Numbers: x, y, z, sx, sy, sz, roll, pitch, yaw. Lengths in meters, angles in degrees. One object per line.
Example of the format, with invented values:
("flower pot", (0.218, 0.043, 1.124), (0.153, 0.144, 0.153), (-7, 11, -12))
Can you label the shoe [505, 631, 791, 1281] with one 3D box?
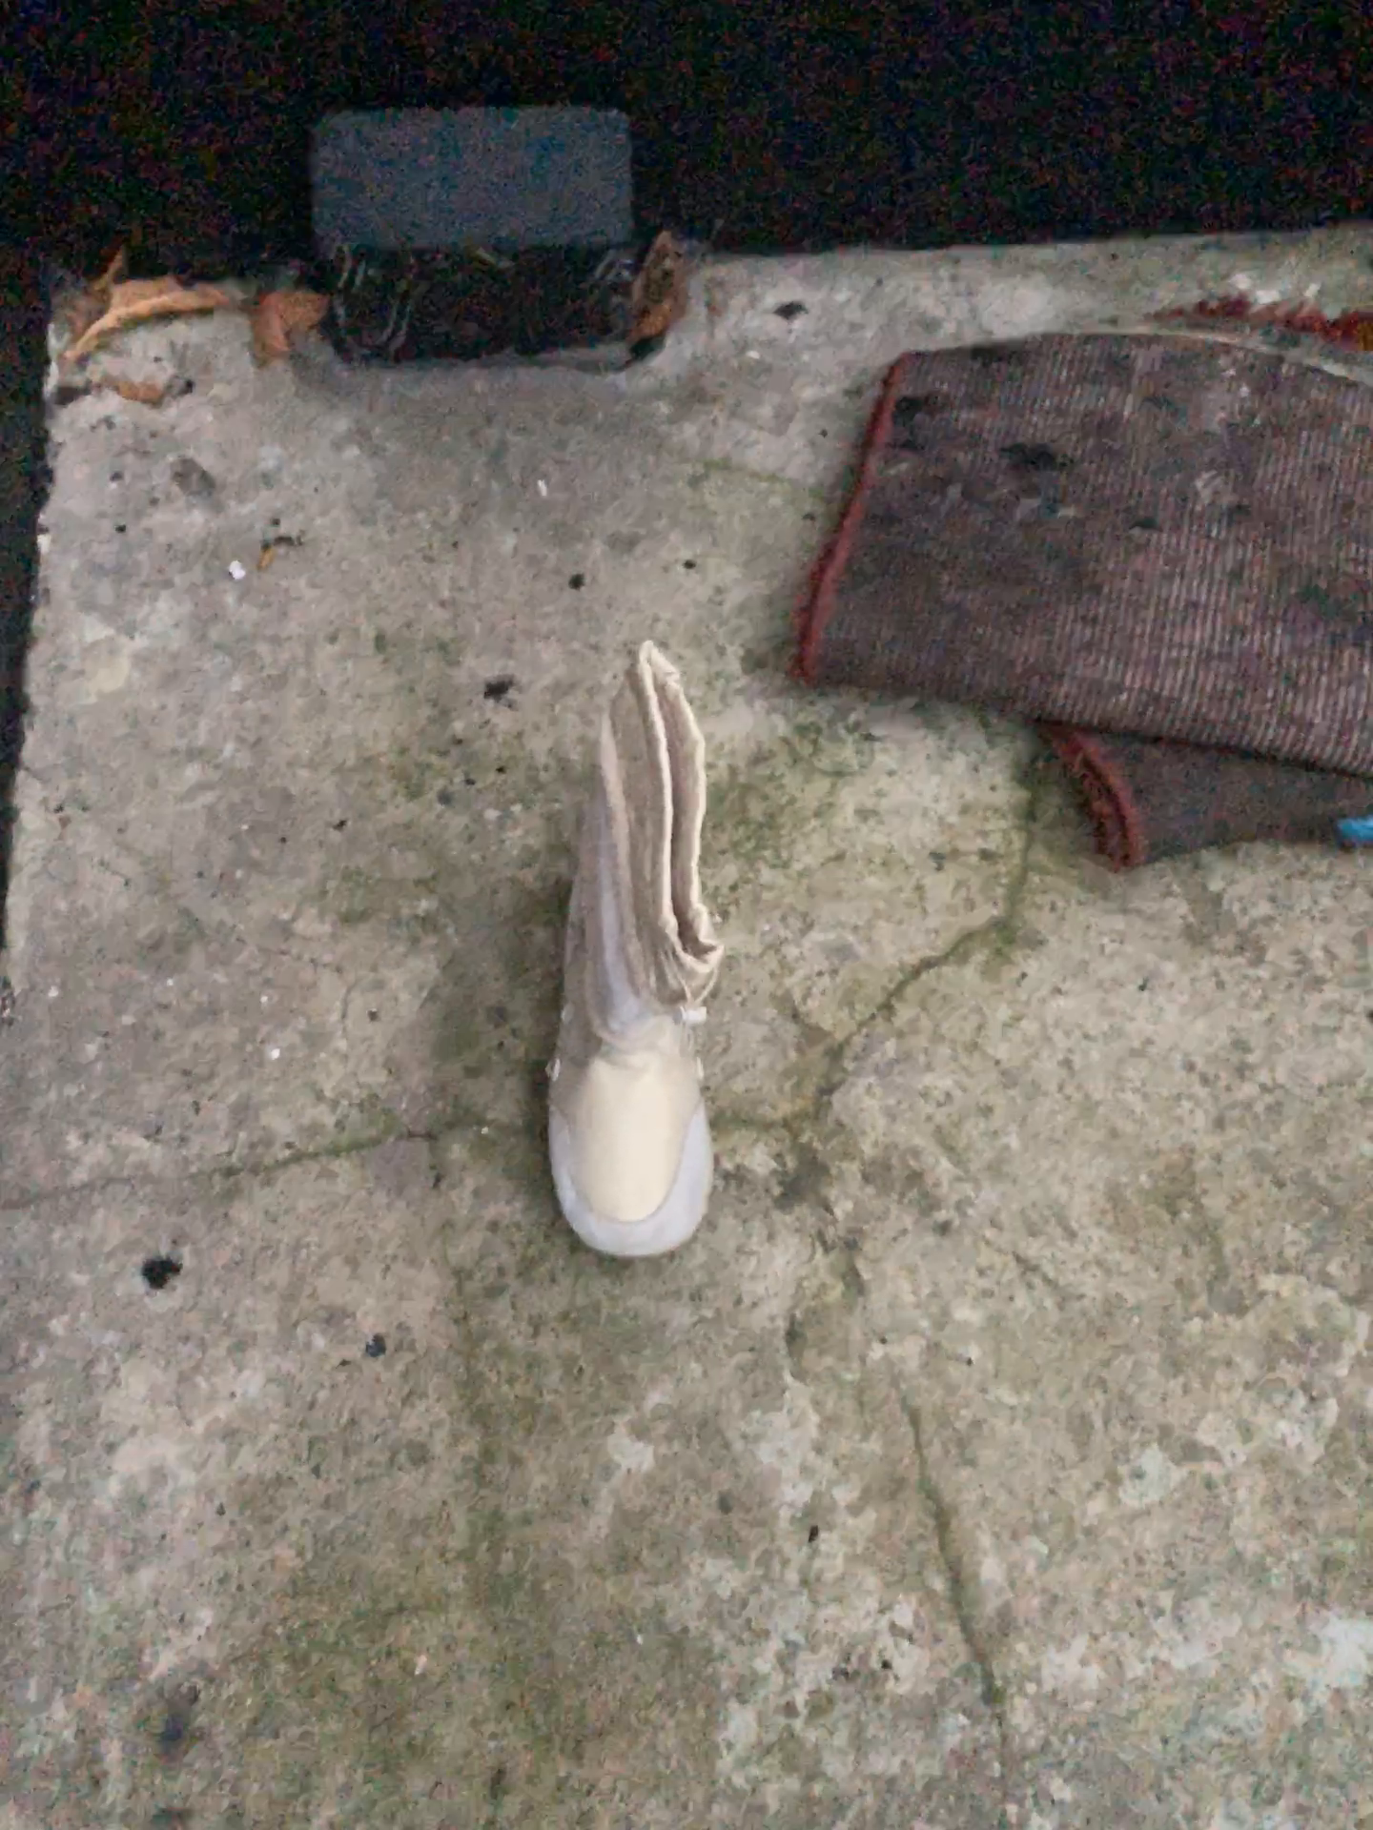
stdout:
("shoe", (-0.024, 0.044, 0.784), (0.120, 0.309, 0.271), (-1, 68, -2))
